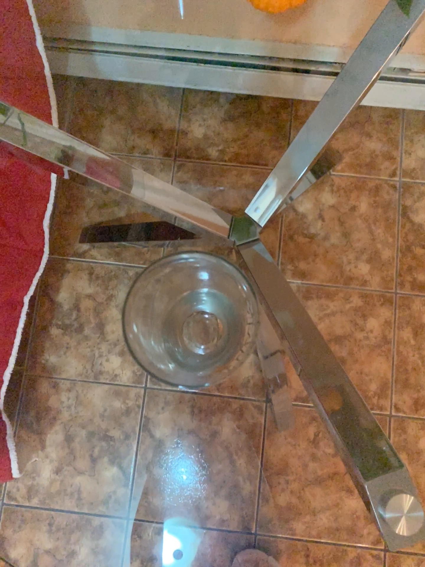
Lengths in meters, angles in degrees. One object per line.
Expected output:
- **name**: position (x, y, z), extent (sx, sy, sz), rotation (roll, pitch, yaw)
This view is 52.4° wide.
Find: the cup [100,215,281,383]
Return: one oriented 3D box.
- **cup**: position (-0.011, 0.026, 0.372), extent (0.100, 0.212, 0.093), rotation (0, 80, 1)
